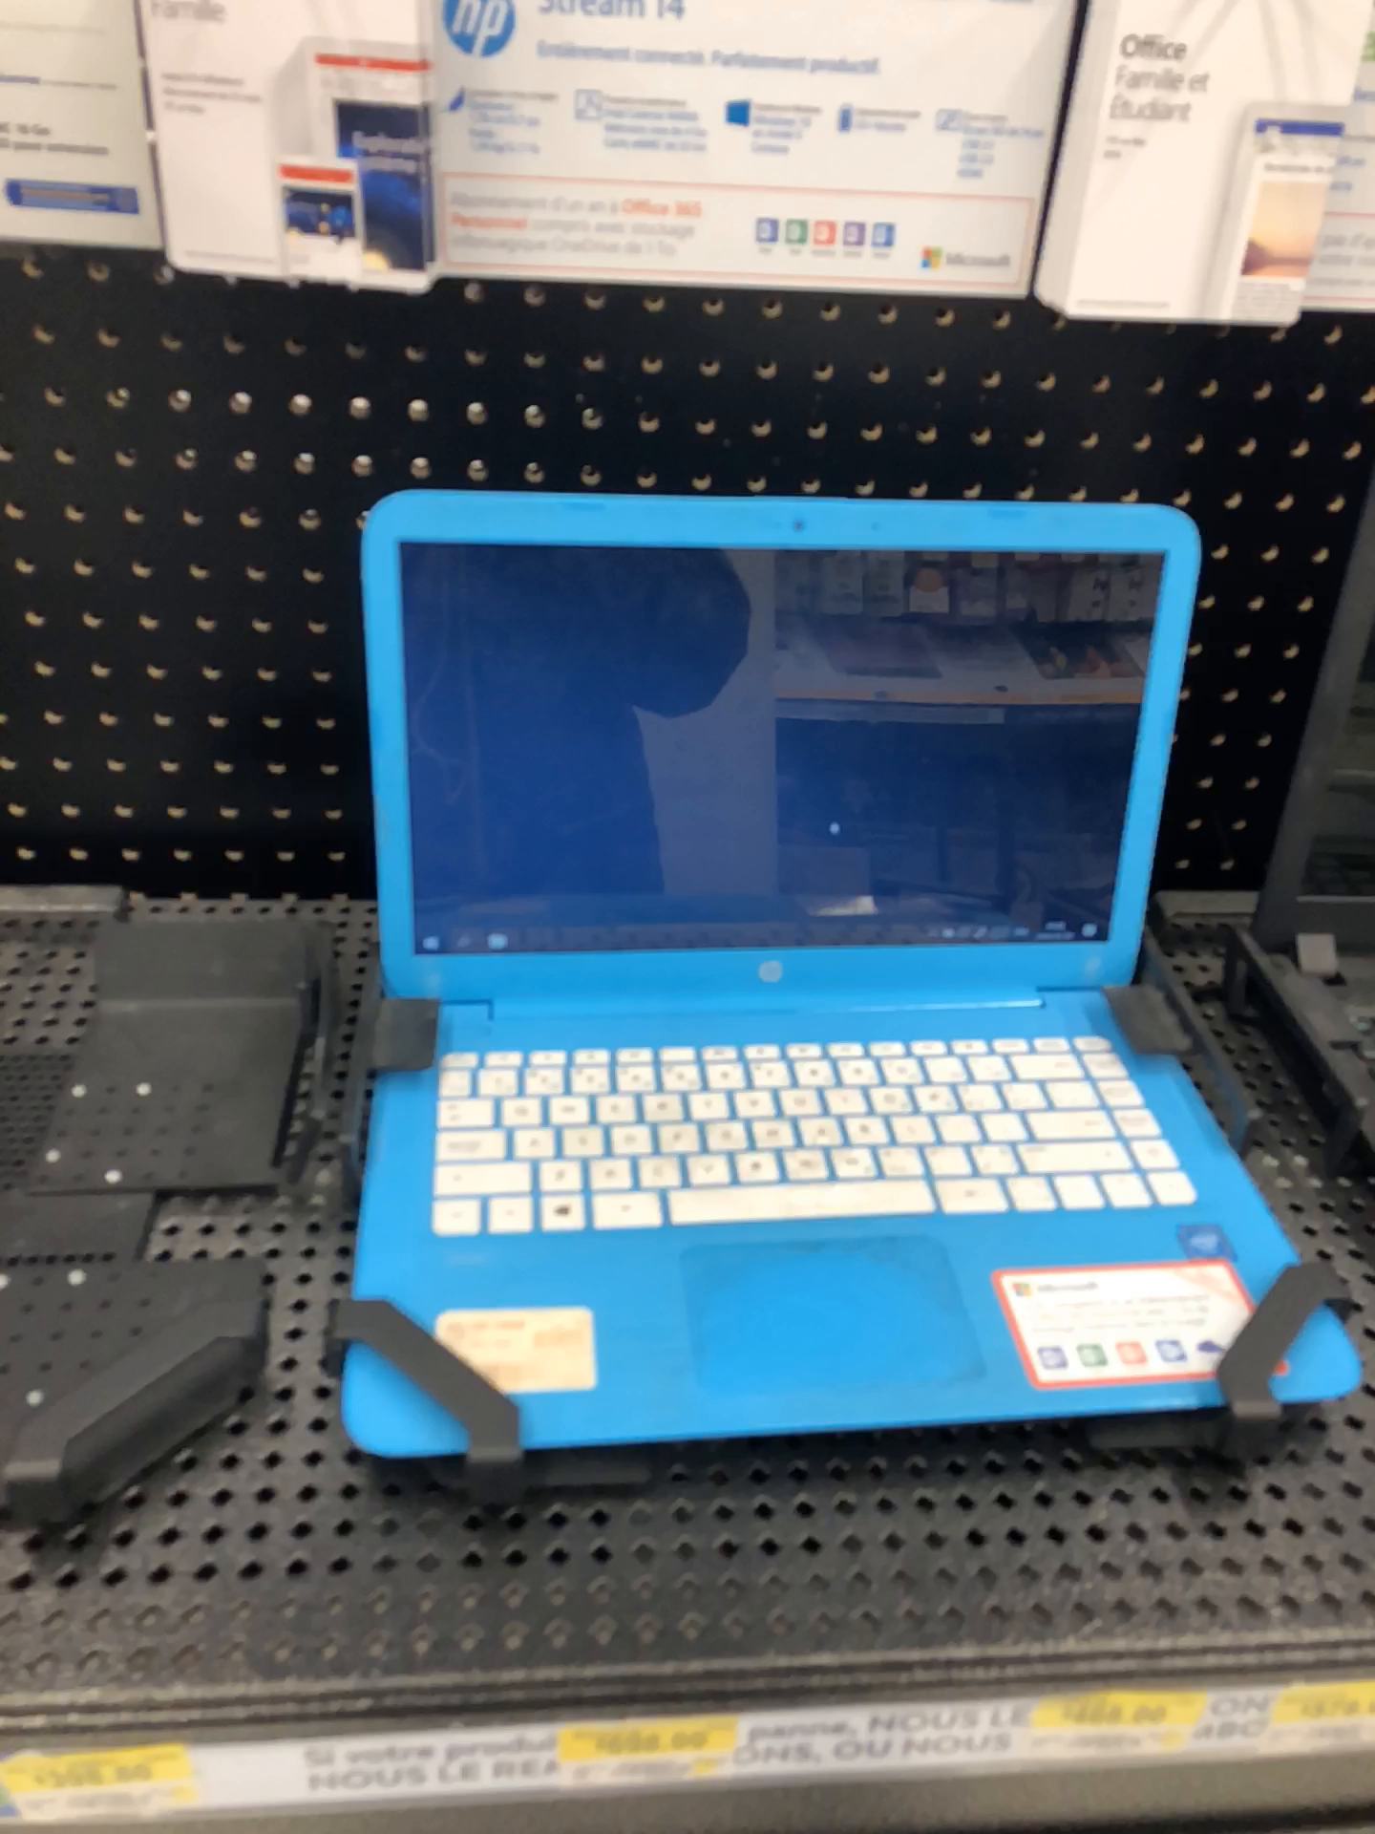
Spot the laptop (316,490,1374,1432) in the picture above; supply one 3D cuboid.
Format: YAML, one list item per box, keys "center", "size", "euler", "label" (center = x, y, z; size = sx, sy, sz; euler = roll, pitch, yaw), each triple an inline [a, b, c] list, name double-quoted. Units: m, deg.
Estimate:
- center: [0.050, -0.005, 0.528]
  size: [0.319, 0.197, 0.270]
  euler: [-1, 34, -6]
  label: "laptop"
